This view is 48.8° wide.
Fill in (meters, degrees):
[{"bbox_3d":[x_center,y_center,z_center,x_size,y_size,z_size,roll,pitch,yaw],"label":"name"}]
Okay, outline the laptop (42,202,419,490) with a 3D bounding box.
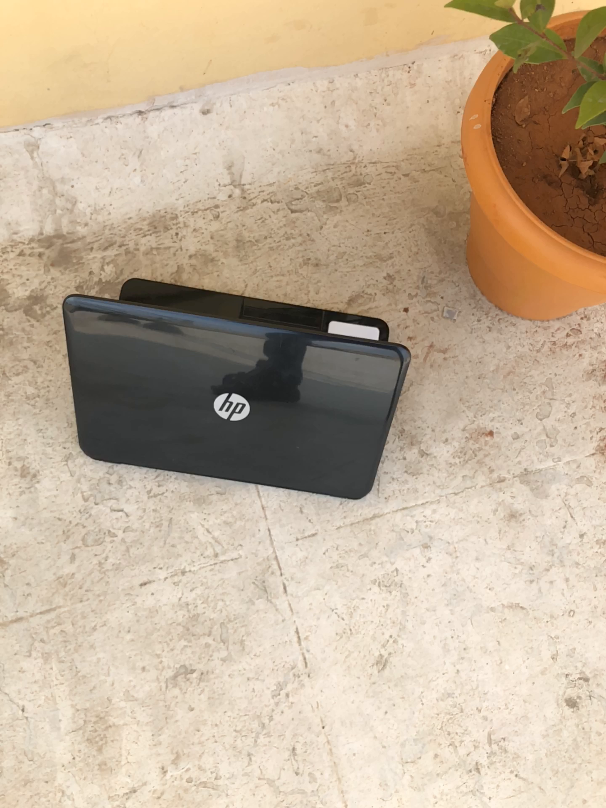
[{"bbox_3d":[-0.072,-0.050,0.772,0.344,0.190,0.221,9,77,-1],"label":"laptop"}]
